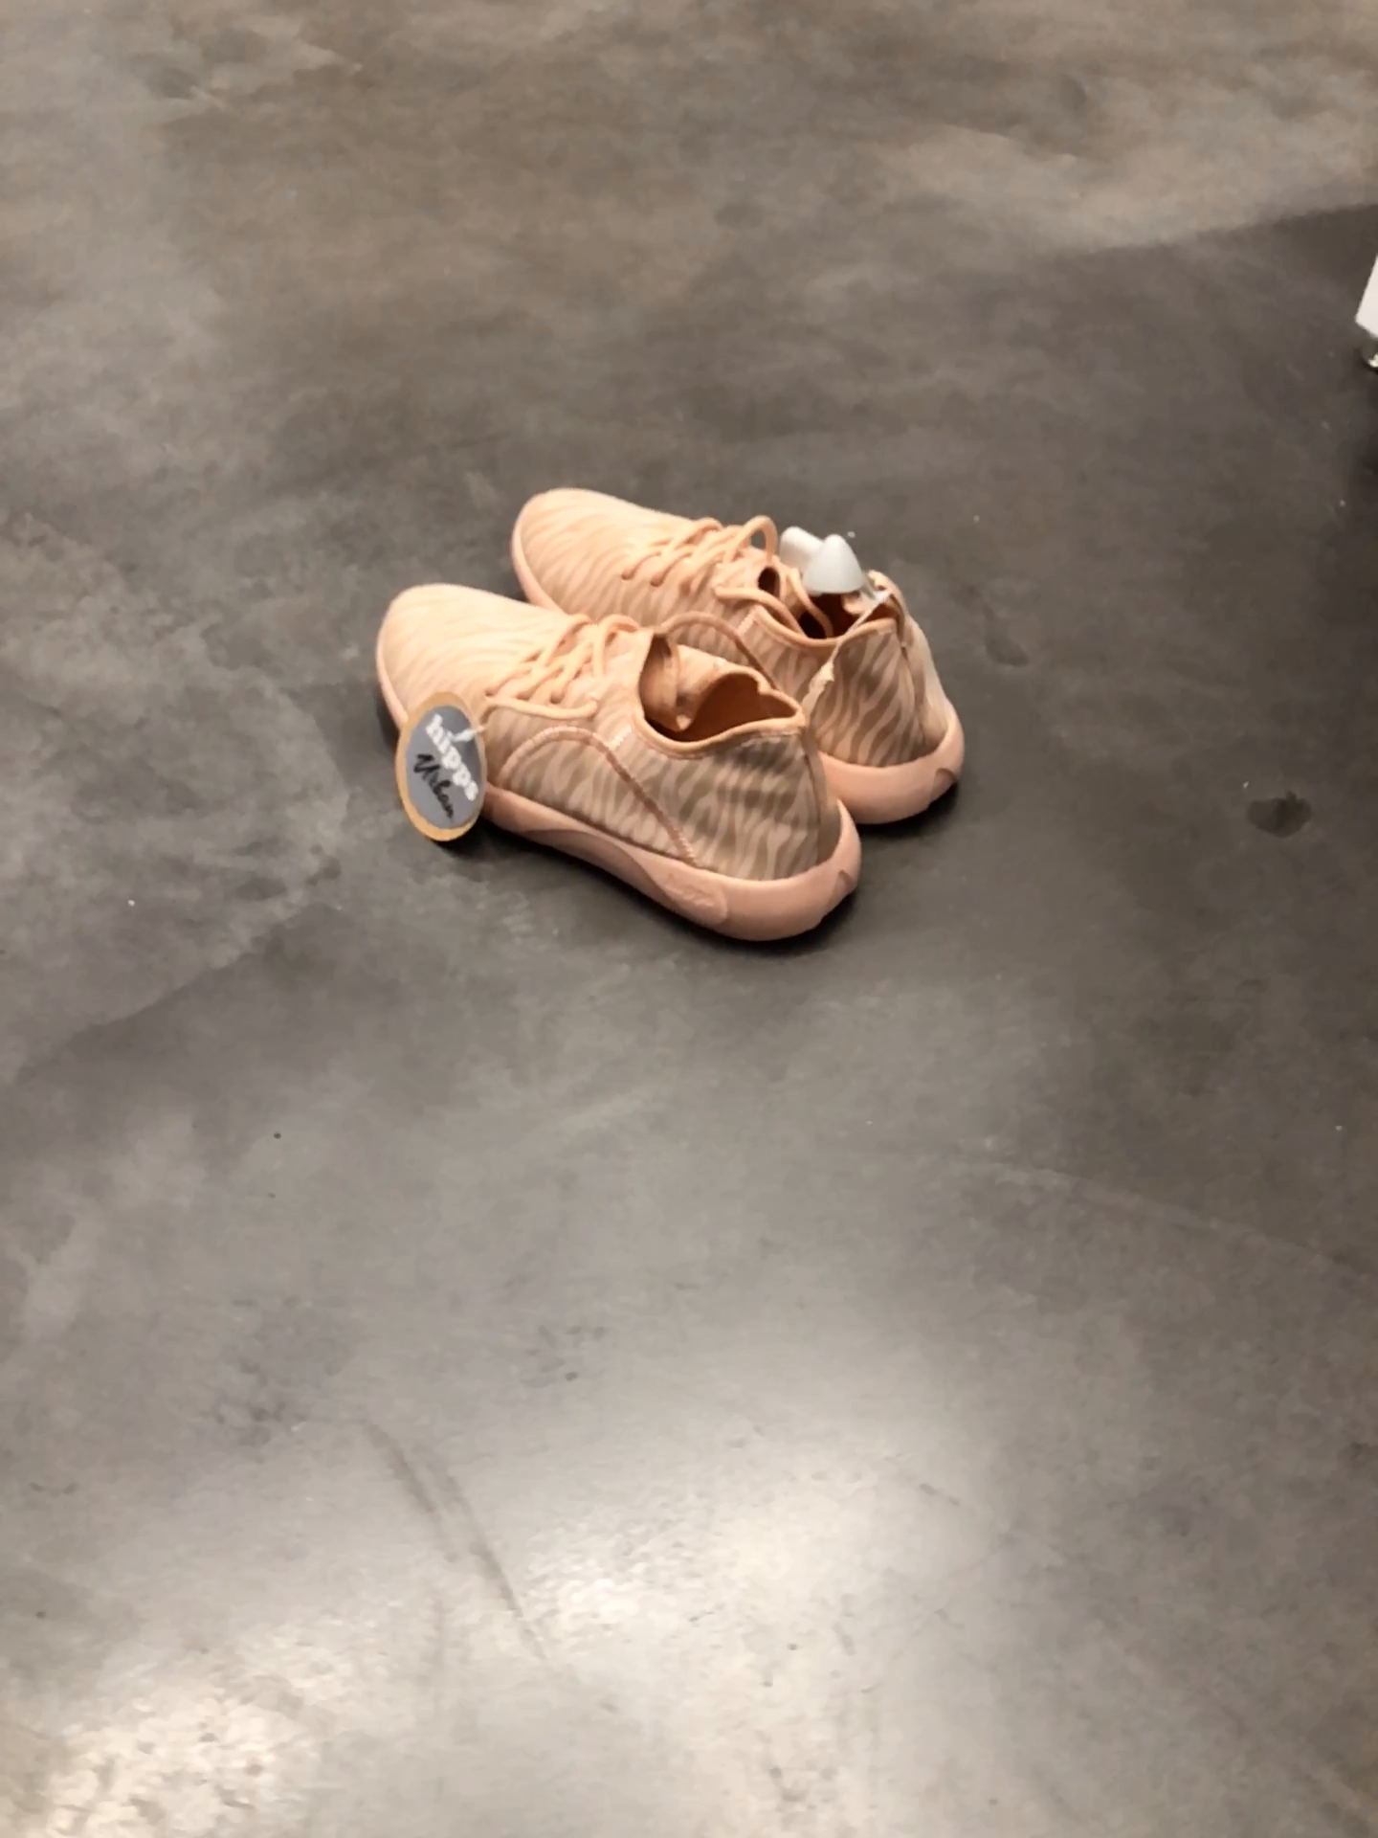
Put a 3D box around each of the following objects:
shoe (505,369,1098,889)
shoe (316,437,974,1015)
[{"bbox_3d":[0.040,-0.131,0.653,0.230,0.099,0.100,35,56,27],"label":"shoe"},{"bbox_3d":[-0.021,-0.082,0.591,0.230,0.099,0.100,32,55,25],"label":"shoe"}]
